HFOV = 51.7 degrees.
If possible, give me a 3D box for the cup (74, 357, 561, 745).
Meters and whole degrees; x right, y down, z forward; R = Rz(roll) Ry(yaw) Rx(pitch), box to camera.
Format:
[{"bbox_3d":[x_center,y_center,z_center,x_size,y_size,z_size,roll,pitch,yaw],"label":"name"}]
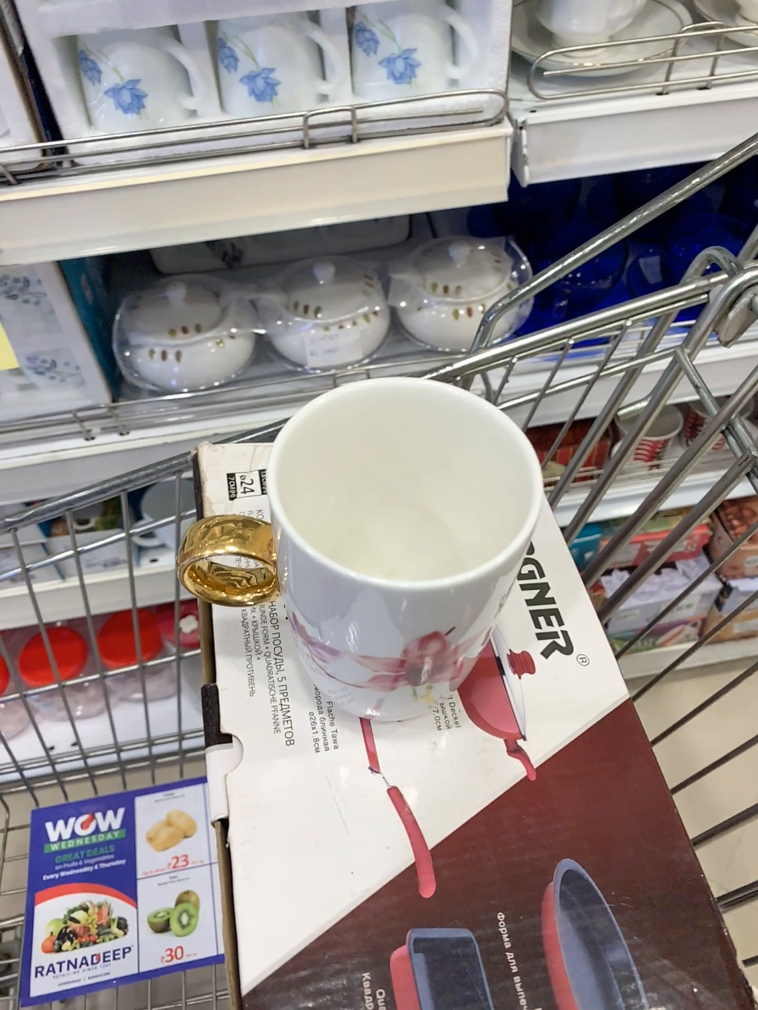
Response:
[{"bbox_3d":[-0.012,0.017,0.232,0.110,0.090,0.070,4,53,2],"label":"cup"}]
